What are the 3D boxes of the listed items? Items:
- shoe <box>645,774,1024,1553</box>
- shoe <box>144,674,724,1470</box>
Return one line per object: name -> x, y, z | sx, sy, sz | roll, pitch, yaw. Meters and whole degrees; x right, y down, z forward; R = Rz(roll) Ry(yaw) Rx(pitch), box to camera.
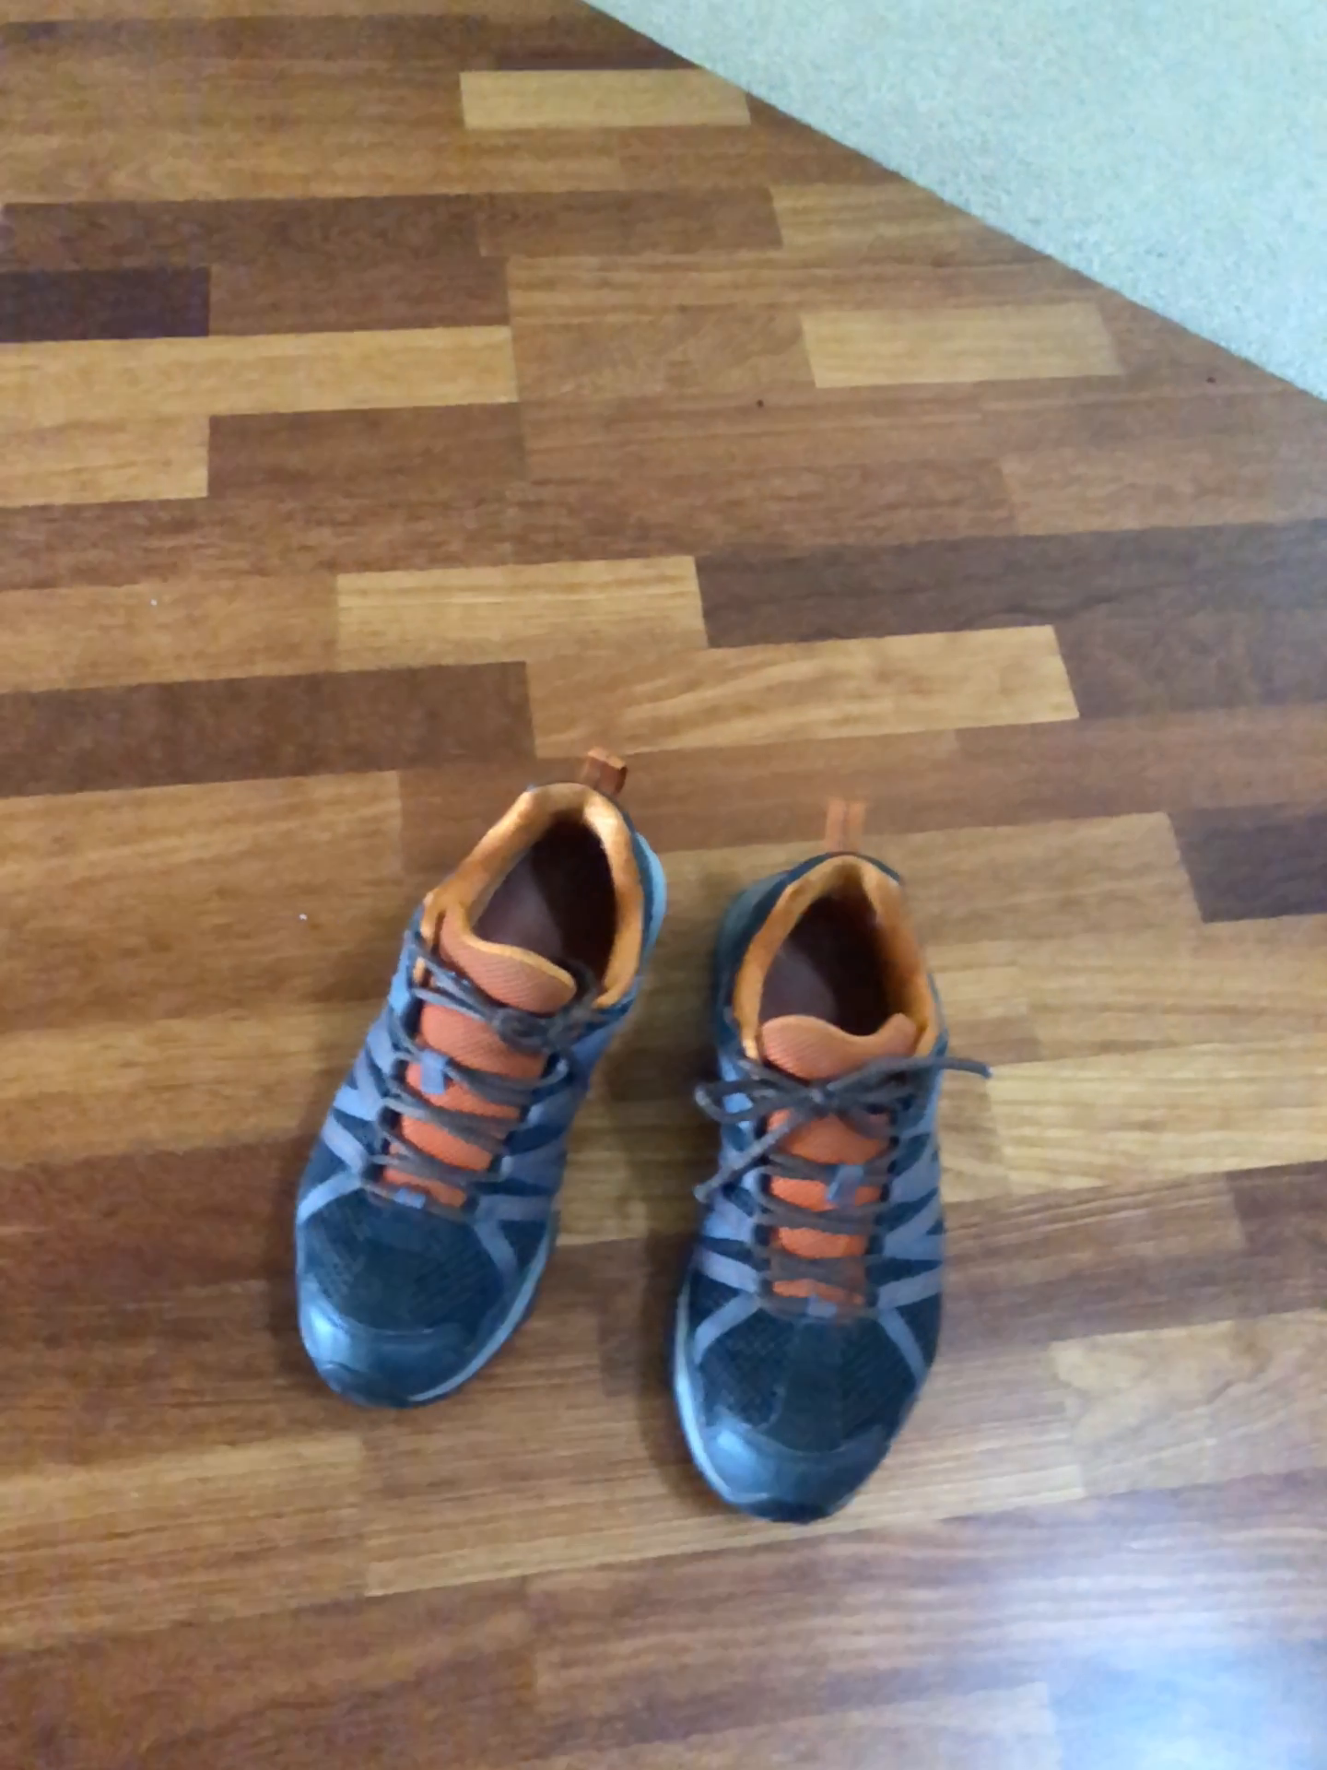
shoe -> 0.070, 0.110, 0.596 | 0.118, 0.117, 0.279 | 7, 61, -1
shoe -> -0.079, 0.072, 0.600 | 0.113, 0.117, 0.282 | 19, 62, 6
